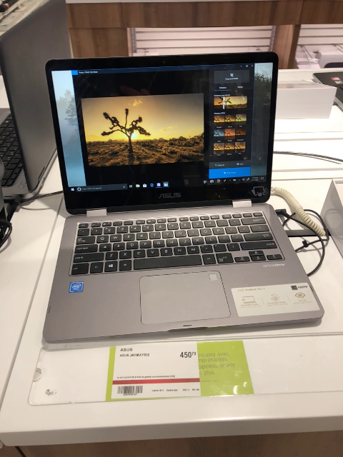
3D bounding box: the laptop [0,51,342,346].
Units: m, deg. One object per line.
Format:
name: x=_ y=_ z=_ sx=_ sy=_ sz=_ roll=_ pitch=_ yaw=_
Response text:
laptop: x=0.006 y=-0.060 z=0.469 sx=0.319 sy=0.211 sz=0.291 roll=-5 pitch=40 yaw=-5
